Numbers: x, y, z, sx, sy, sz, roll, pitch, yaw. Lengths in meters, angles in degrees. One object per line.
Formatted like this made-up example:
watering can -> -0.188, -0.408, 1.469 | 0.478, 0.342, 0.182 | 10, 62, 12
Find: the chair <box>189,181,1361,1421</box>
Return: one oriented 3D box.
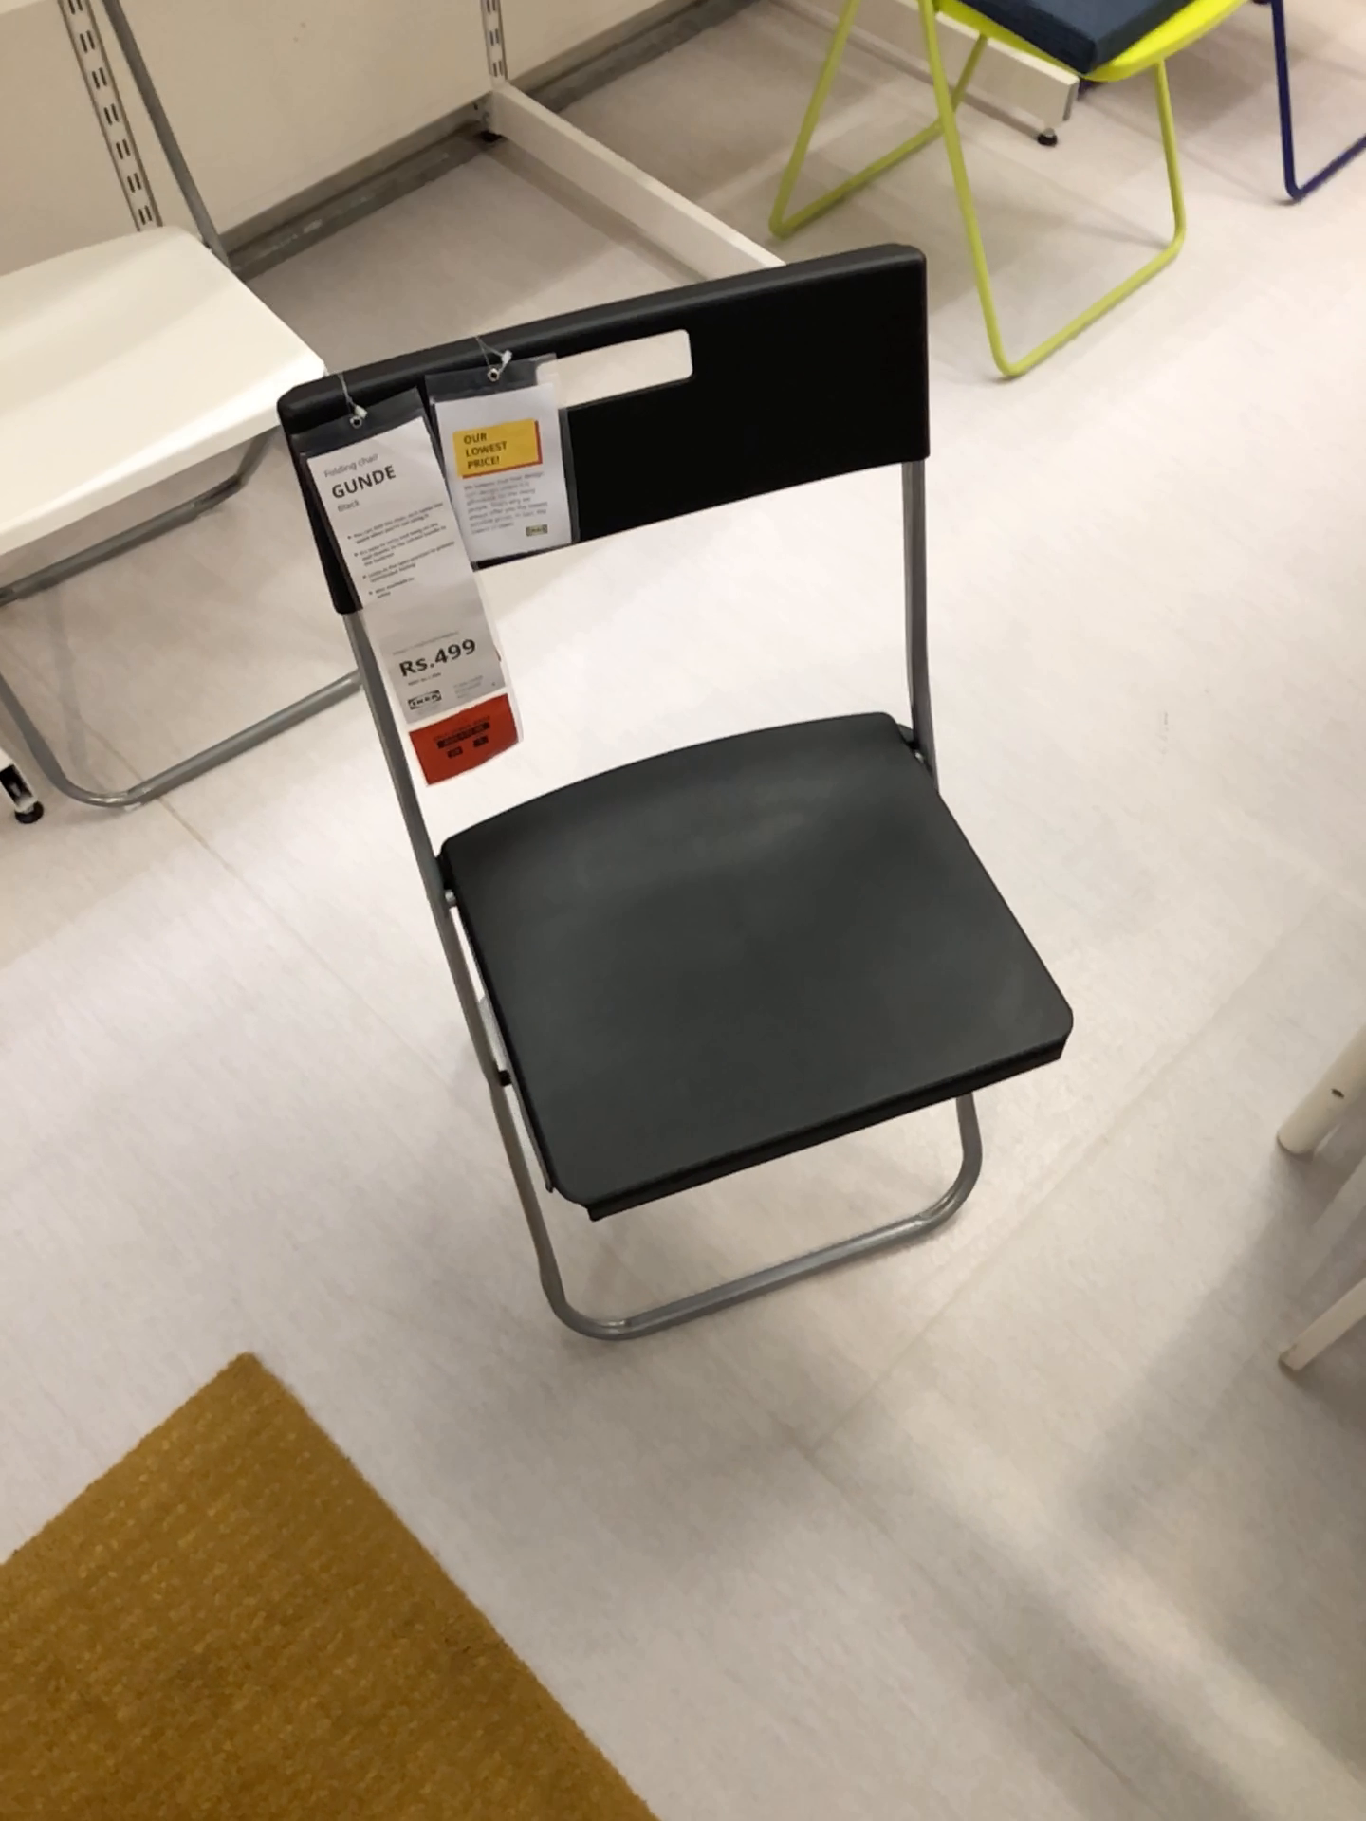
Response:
chair -> 0.024, -0.011, 1.154 | 0.500, 0.786, 0.462 | -18, 60, -11
